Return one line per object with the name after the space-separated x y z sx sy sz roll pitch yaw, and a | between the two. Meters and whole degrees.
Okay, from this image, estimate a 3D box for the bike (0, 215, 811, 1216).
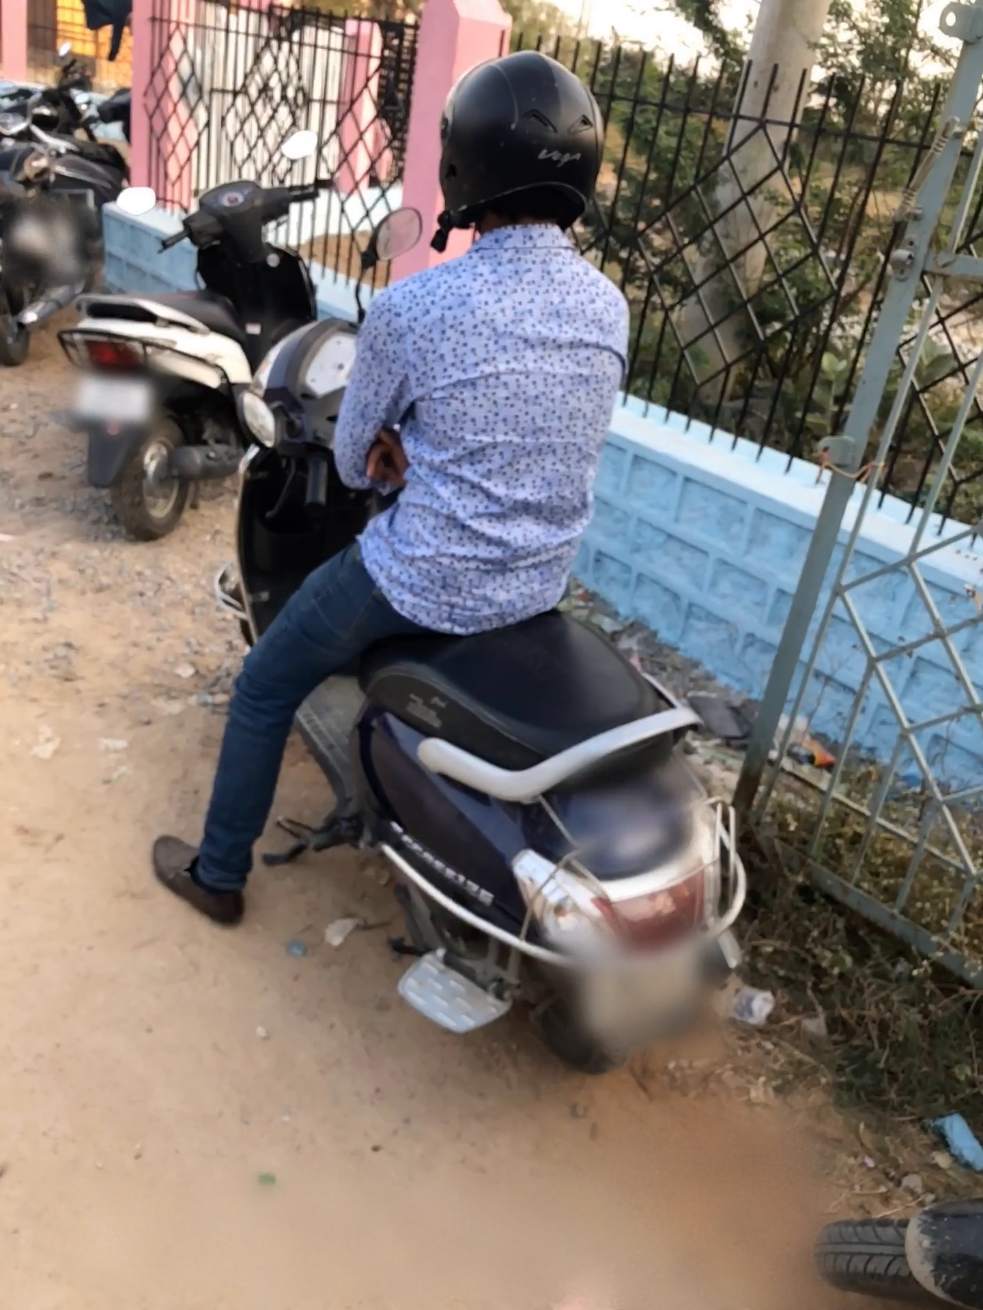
-0.346 0.002 1.966 0.595 1.014 1.396 -12 39 -37 | bike
